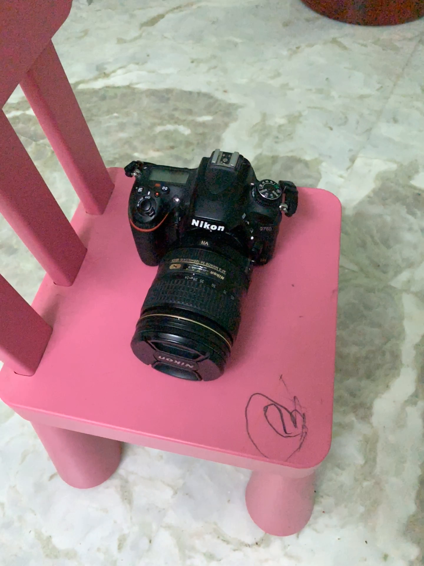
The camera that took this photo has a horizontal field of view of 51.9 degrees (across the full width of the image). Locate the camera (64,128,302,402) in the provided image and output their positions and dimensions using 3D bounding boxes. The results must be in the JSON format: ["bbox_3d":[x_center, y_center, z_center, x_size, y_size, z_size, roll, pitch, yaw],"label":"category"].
[{"bbox_3d":[-0.011,-0.025,0.383,0.140,0.080,0.210,11,59,8],"label":"camera"}]
